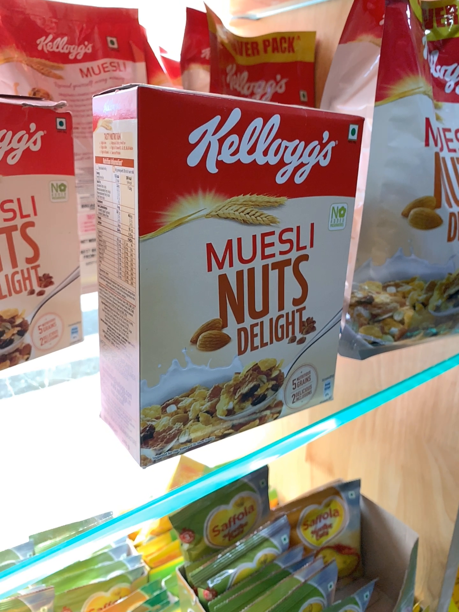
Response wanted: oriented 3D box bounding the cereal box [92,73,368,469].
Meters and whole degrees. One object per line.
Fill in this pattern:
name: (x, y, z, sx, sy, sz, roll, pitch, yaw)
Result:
cereal box: (0.001, -0.020, 0.257, 0.130, 0.169, 0.050, -9, 20, -35)
